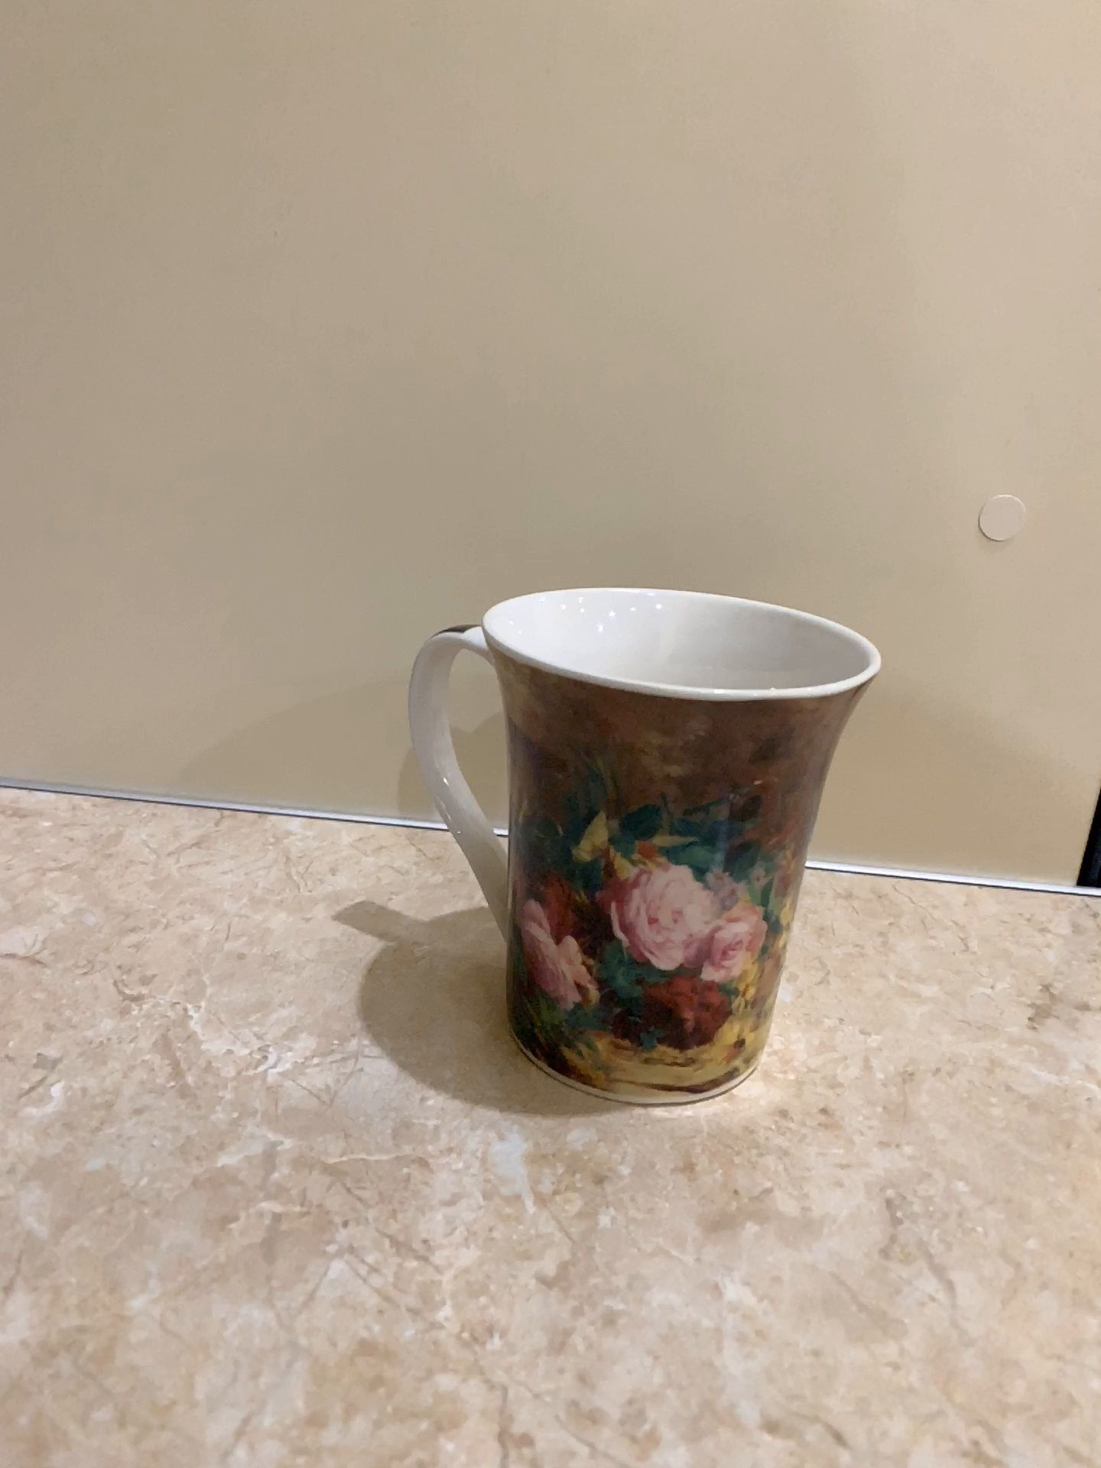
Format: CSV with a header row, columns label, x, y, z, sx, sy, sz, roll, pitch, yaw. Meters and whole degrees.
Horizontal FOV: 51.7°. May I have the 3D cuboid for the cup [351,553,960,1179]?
label,x,y,z,sx,sy,sz,roll,pitch,yaw
cup,0.021,0.019,0.275,0.101,0.096,0.094,4,21,-1
